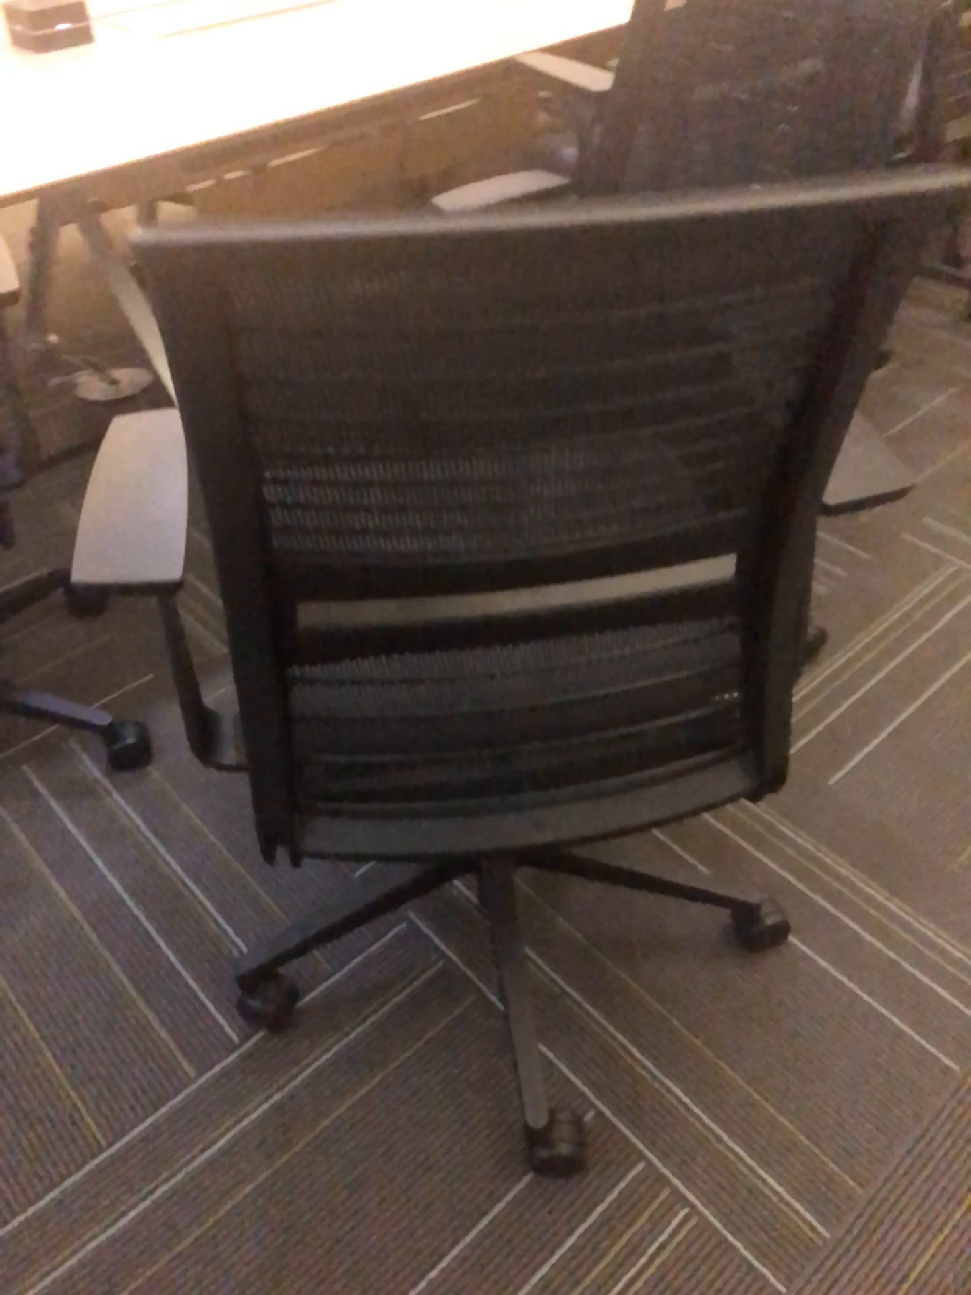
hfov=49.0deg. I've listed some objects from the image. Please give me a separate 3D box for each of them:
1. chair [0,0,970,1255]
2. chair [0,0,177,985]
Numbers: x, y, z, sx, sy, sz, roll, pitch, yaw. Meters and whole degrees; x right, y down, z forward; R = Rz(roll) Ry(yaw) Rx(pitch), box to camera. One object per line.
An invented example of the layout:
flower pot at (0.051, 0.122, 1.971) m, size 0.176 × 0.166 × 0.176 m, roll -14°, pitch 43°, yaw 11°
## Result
chair at (0.010, -0.042, 1.046) m, size 0.721 × 0.962 × 0.715 m, roll -8°, pitch 41°, yaw -7°
chair at (-0.918, -0.270, 1.331) m, size 0.732 × 0.962 × 0.724 m, roll -16°, pitch 43°, yaw -16°
